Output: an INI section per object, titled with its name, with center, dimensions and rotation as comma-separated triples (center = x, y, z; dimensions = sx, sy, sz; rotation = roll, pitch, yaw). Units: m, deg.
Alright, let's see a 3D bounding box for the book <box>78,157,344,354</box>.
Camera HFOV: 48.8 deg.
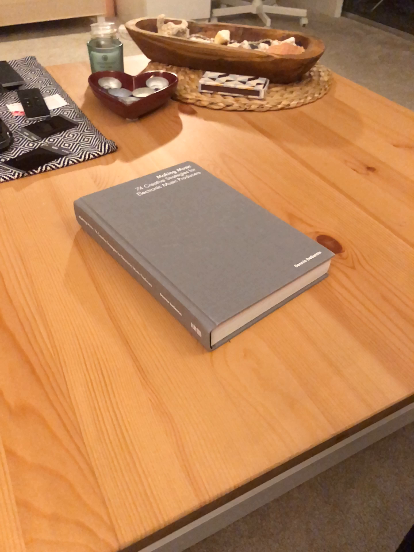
[book]
center = -0.003, -0.041, 0.477
dimensions = 0.167, 0.030, 0.228
rotation = -27, 51, -29
